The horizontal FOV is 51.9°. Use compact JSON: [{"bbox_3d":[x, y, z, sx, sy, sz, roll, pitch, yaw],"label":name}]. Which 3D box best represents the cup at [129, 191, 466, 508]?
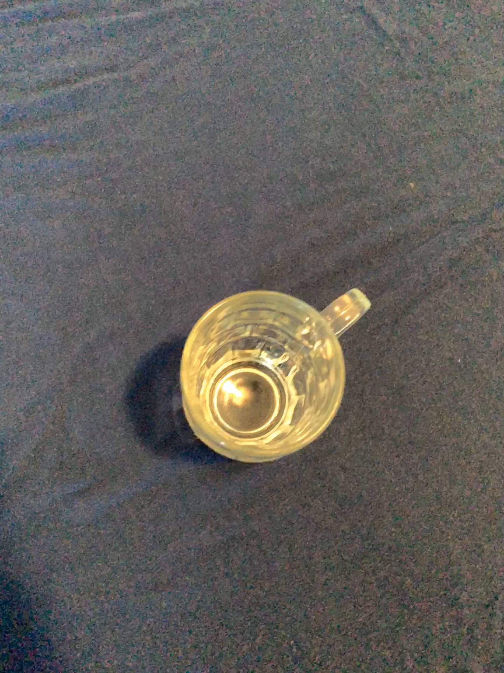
[{"bbox_3d":[0.017,0.014,0.271,0.120,0.110,0.080,-38,81,-14],"label":"cup"}]
